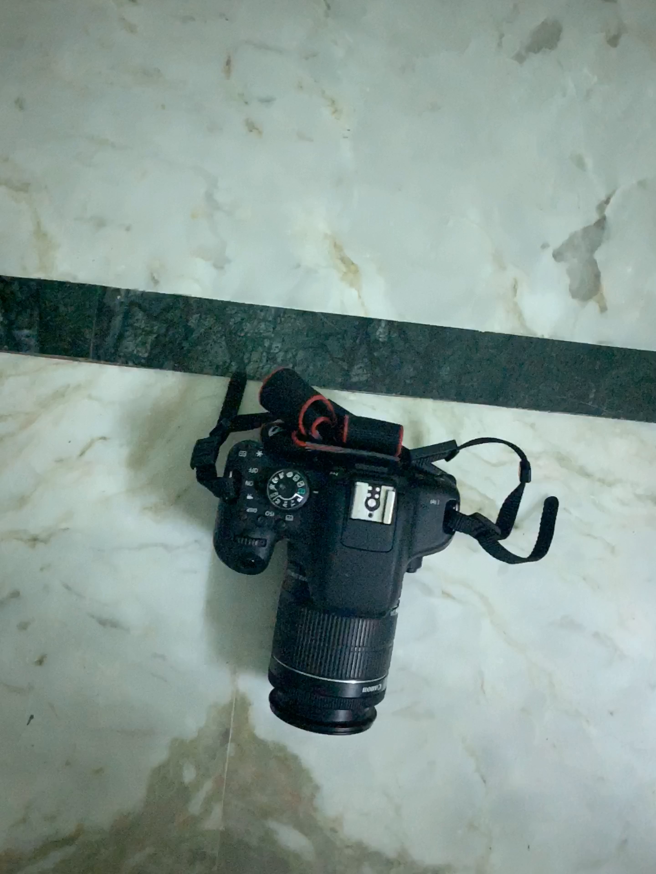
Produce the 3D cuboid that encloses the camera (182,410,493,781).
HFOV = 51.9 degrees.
[{"bbox_3d":[0.002,0.077,0.368,0.128,0.100,0.160,8,87,-4],"label":"camera"}]
